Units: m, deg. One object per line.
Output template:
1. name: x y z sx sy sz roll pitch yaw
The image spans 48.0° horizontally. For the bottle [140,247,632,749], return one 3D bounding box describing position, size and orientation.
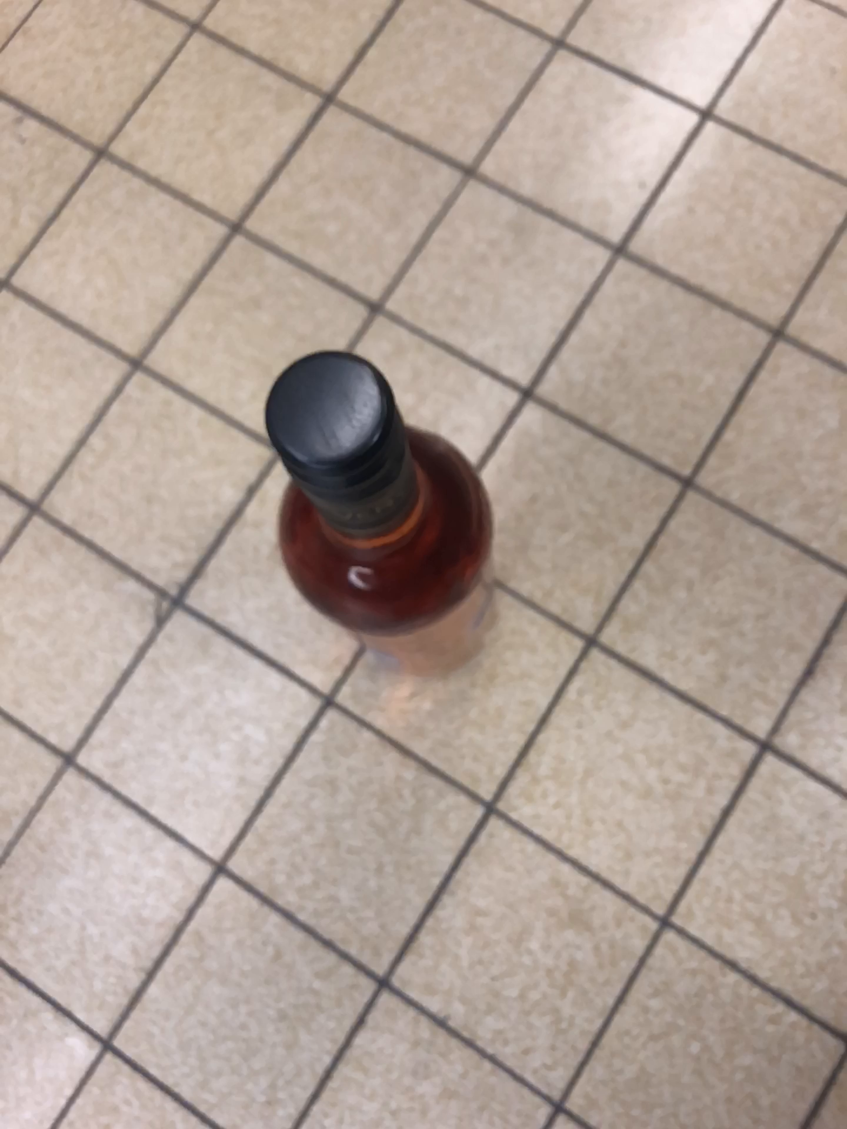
1. bottle: 0.000 0.011 0.356 0.080 0.300 0.080 -1 78 4
